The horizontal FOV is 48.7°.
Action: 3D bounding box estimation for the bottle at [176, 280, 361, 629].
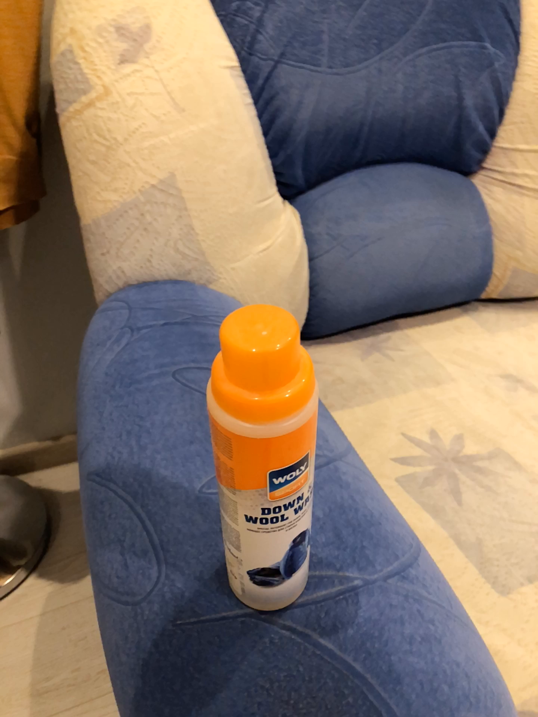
[{"bbox_3d":[0.000,0.059,0.293,0.052,0.188,0.052,-1,44,1],"label":"bottle"}]
